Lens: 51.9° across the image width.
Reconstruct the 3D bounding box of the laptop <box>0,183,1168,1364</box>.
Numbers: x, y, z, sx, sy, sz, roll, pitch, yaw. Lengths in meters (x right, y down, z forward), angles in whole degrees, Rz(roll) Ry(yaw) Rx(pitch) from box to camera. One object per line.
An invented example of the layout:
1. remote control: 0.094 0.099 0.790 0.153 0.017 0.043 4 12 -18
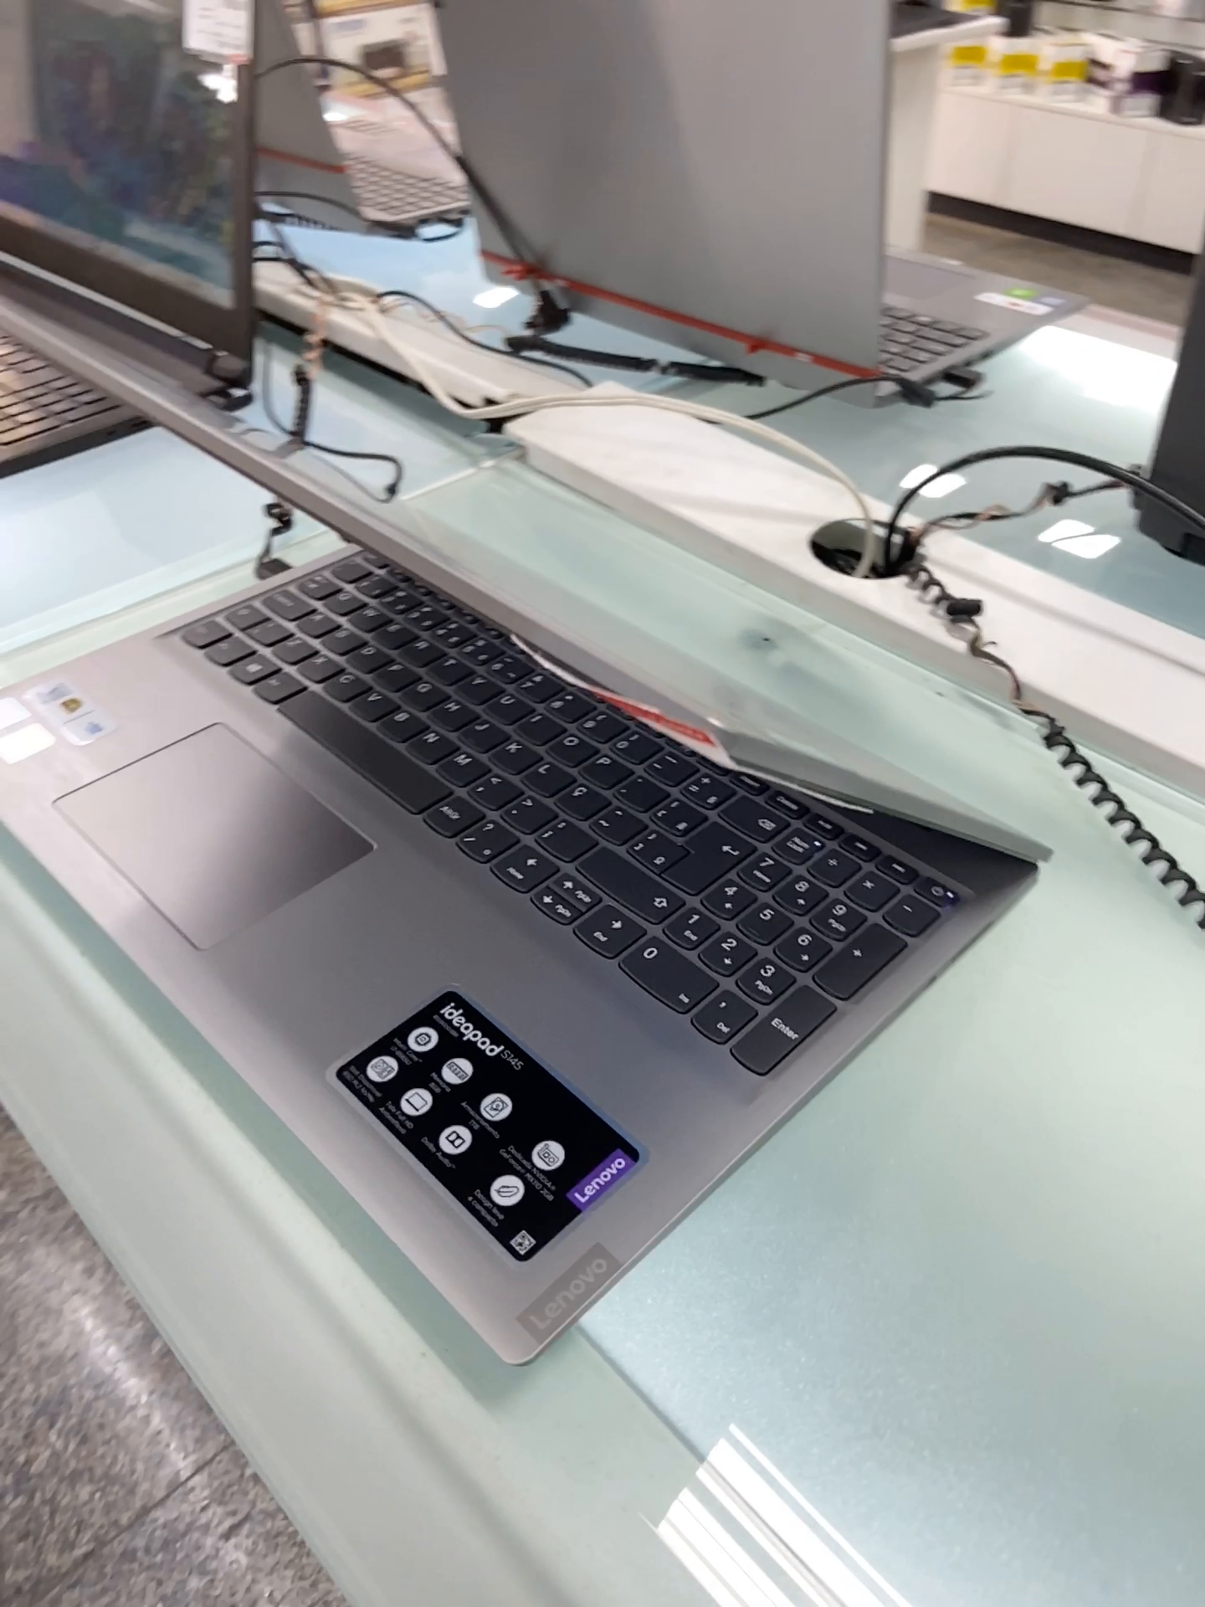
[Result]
1. laptop: -0.064 -0.064 0.413 0.362 0.160 0.246 32 50 33
